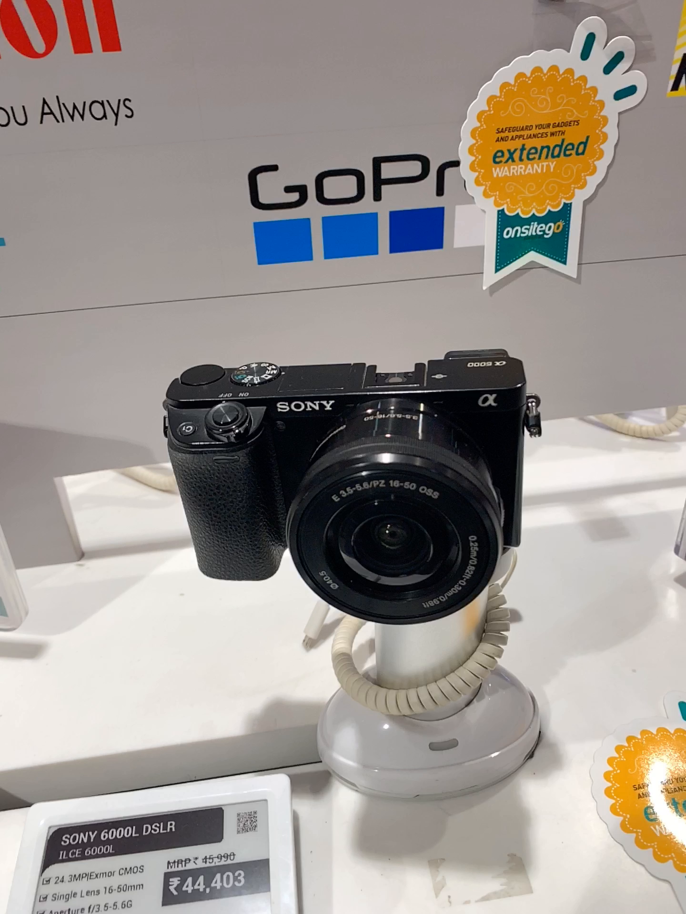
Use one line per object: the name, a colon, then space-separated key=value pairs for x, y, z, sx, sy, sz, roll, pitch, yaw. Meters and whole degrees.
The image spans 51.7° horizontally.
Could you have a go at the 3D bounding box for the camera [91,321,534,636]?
camera: x=-0.006 y=0.008 z=0.236 sx=0.120 sy=0.090 sz=0.050 roll=-1 pitch=32 yaw=4
